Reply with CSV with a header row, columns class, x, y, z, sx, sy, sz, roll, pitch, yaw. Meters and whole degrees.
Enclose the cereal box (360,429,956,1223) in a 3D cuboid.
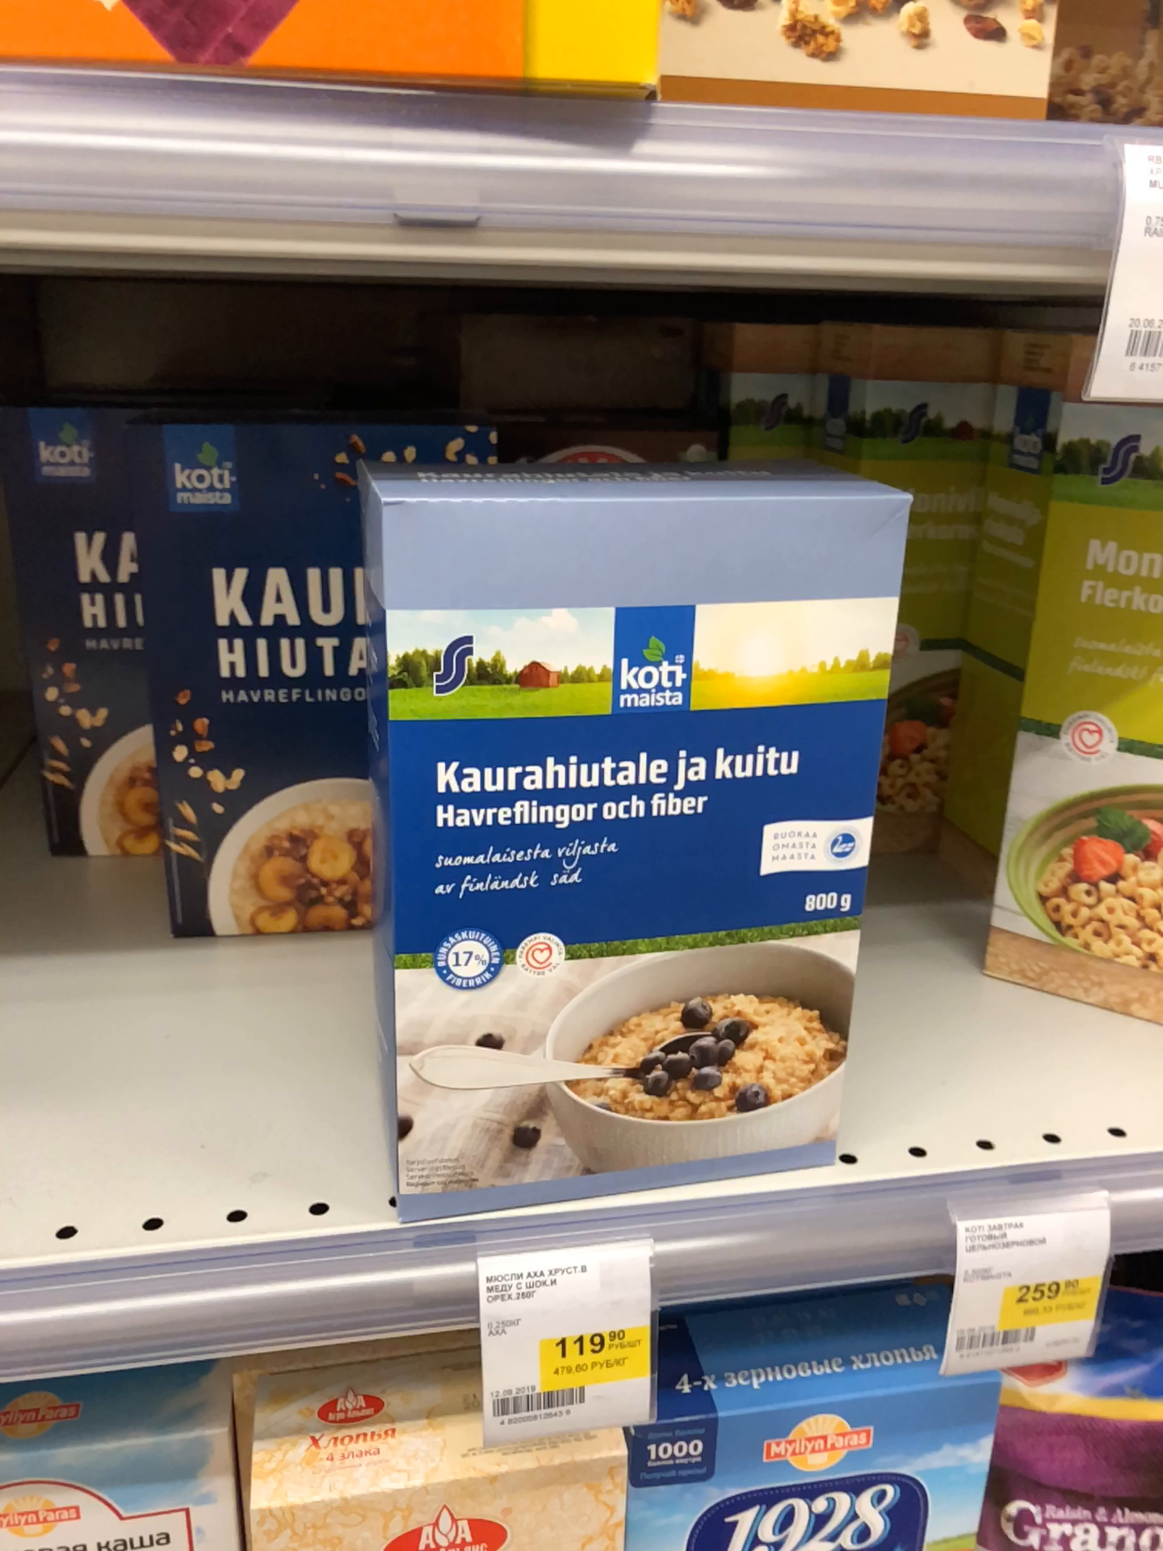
class,x,y,z,sx,sy,sz,roll,pitch,yaw
cereal box,0.014,0.011,0.396,0.150,0.219,0.080,-3,20,-14
